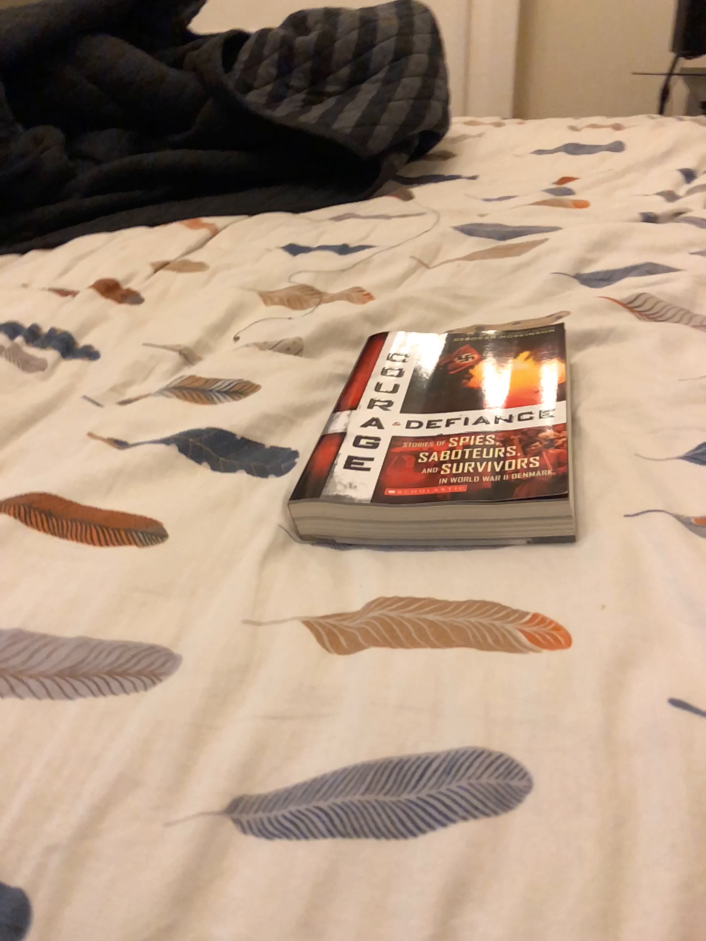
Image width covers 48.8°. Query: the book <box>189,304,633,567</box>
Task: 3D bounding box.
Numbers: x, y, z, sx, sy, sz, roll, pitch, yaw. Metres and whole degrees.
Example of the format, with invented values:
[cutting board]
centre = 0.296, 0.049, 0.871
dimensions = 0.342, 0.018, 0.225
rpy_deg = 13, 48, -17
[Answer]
[book]
centre = 0.041, -0.038, 0.449
dimensions = 0.200, 0.020, 0.231
rpy_deg = 4, 35, 9
